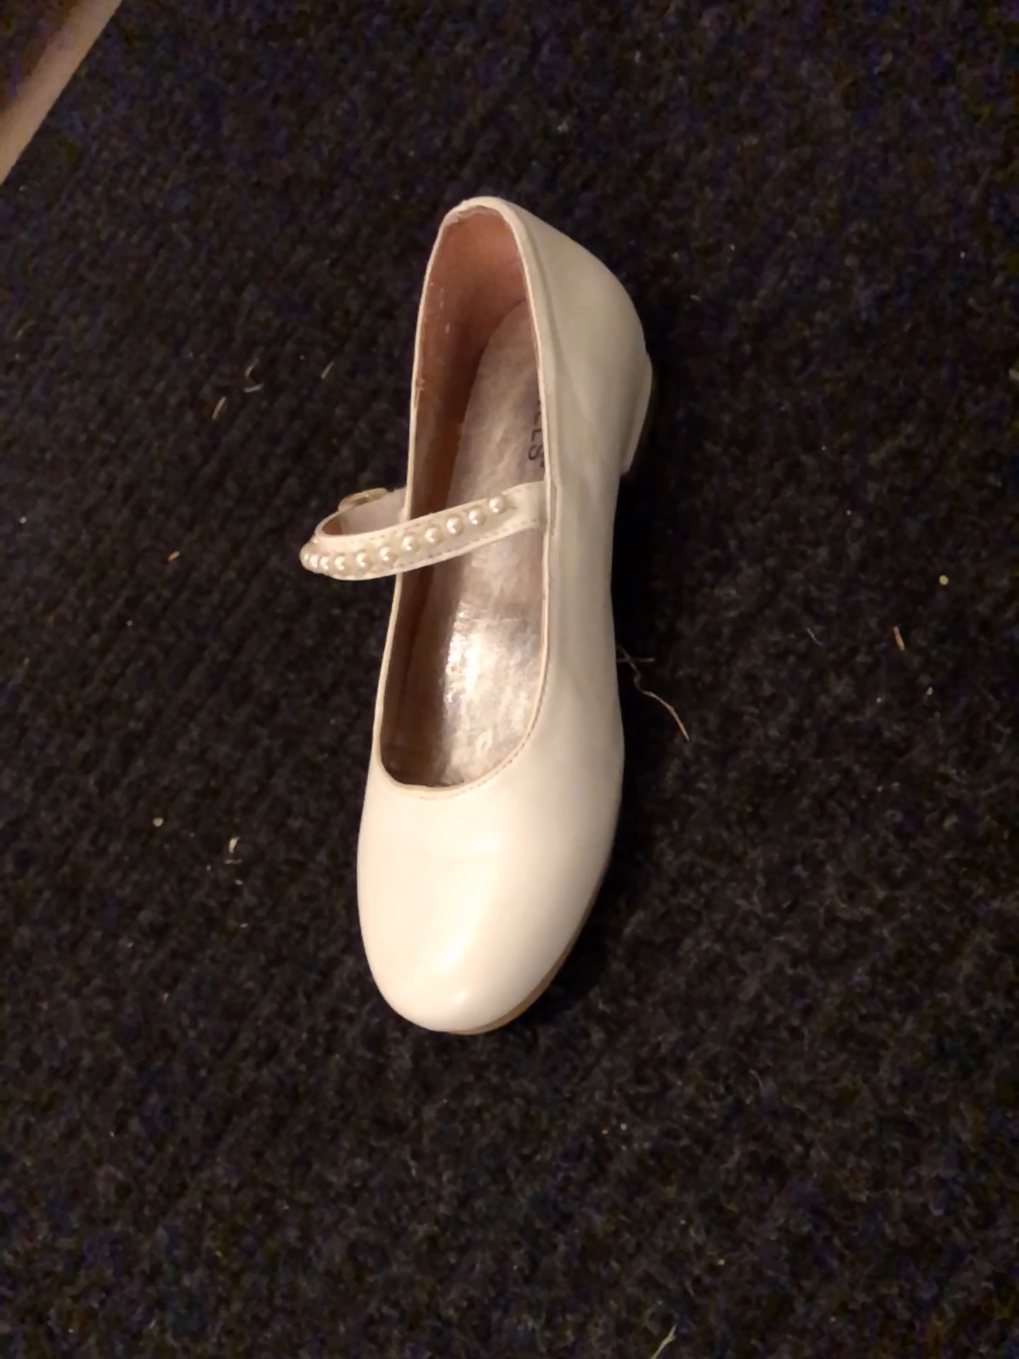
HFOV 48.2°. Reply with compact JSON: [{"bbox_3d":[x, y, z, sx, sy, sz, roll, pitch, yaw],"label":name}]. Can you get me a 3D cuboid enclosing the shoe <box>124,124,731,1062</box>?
[{"bbox_3d":[-0.011,-0.019,0.285,0.080,0.080,0.200,-2,68,36],"label":"shoe"}]
